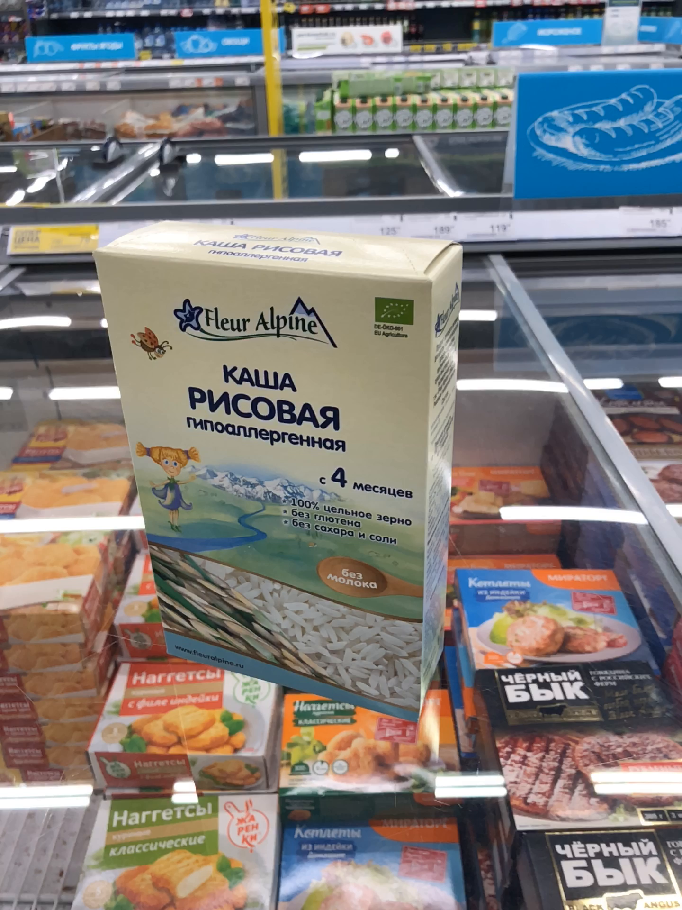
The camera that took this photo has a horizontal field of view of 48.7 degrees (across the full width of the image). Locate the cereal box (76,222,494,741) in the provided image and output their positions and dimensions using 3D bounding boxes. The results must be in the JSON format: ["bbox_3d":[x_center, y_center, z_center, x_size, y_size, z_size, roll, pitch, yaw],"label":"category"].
[{"bbox_3d":[-0.017,0.013,0.316,0.140,0.199,0.050,9,31,19],"label":"cereal box"}]
